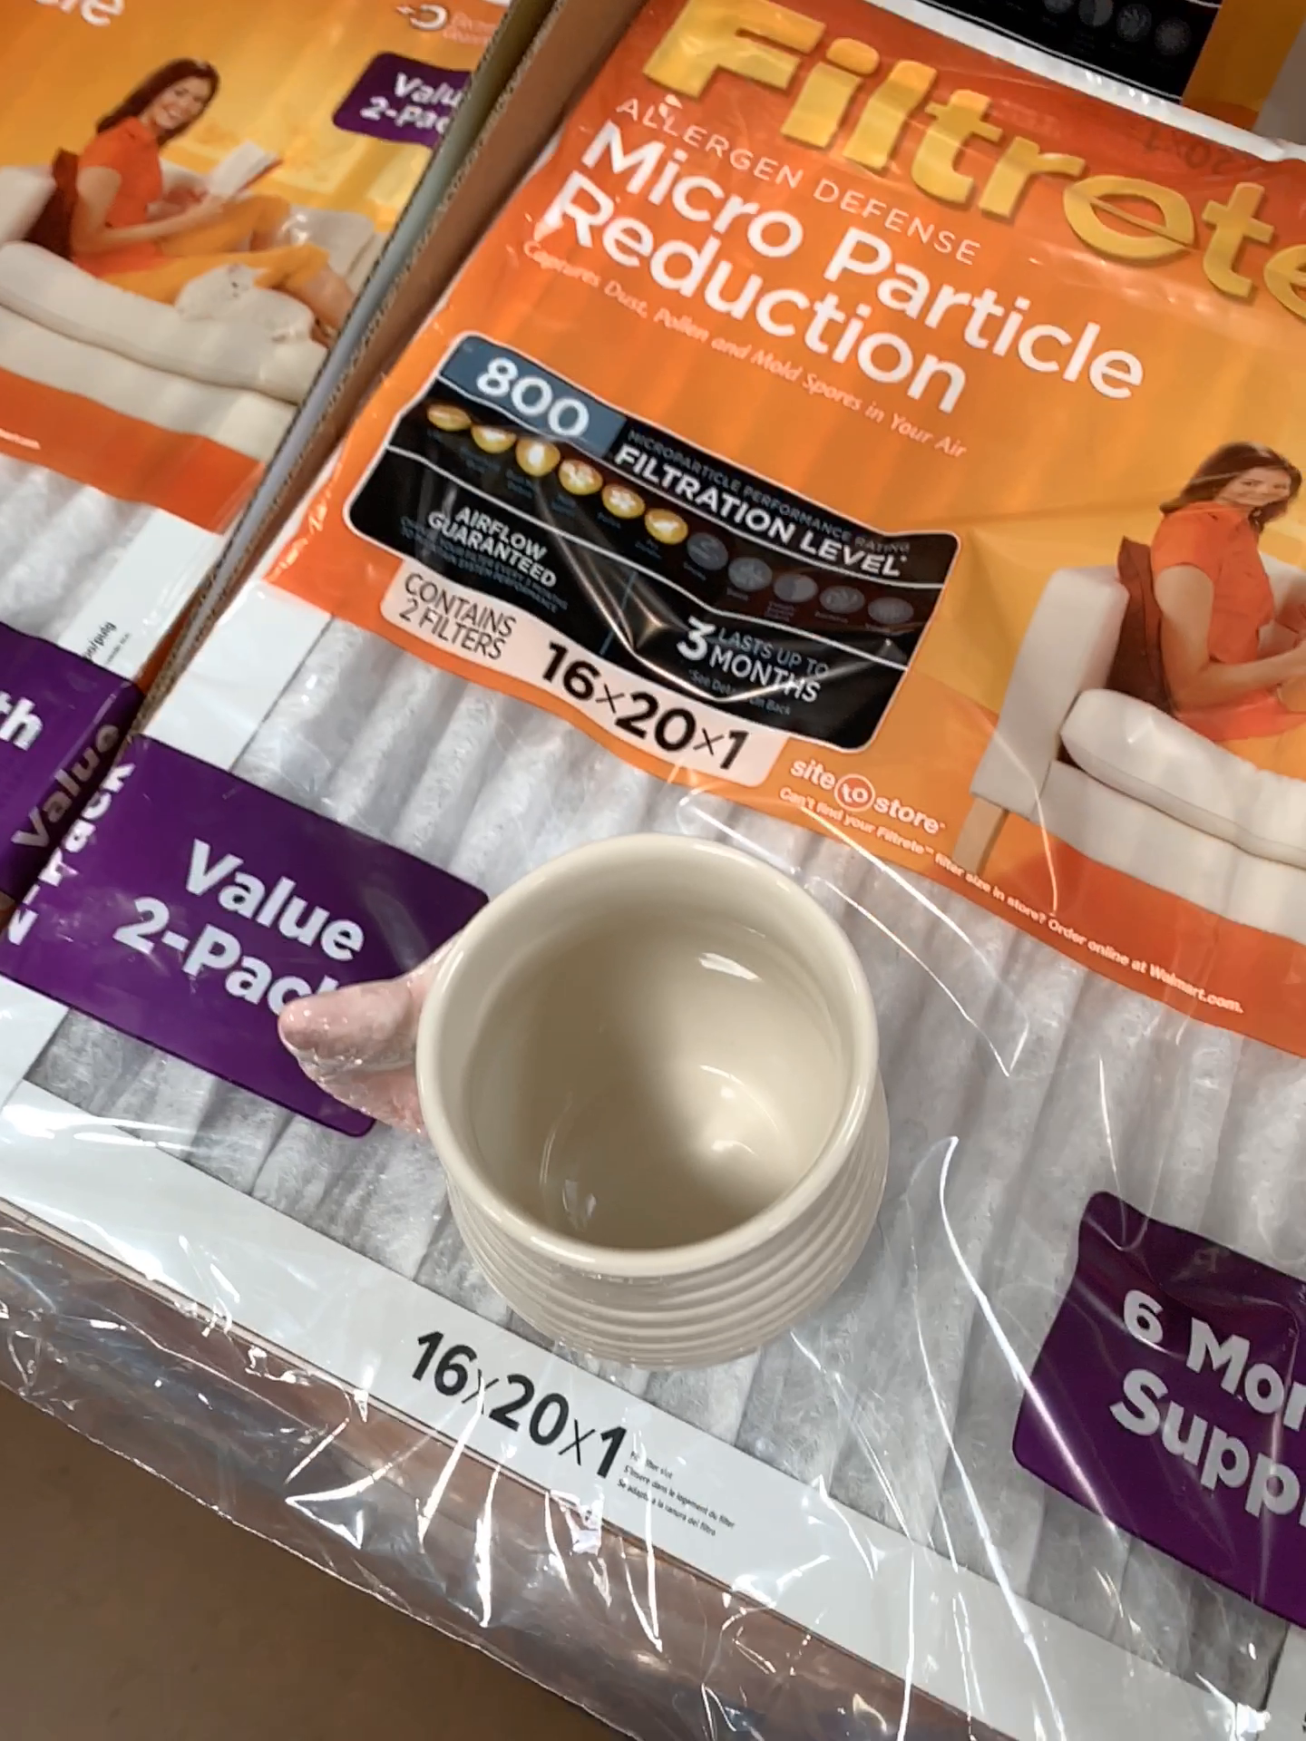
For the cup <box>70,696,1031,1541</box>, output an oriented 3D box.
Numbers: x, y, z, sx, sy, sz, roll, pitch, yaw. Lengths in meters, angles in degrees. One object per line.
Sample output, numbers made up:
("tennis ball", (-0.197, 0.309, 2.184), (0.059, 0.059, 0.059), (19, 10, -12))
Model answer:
("cup", (-0.016, 0.053, 0.281), (0.141, 0.090, 0.100), (25, 67, 14))
